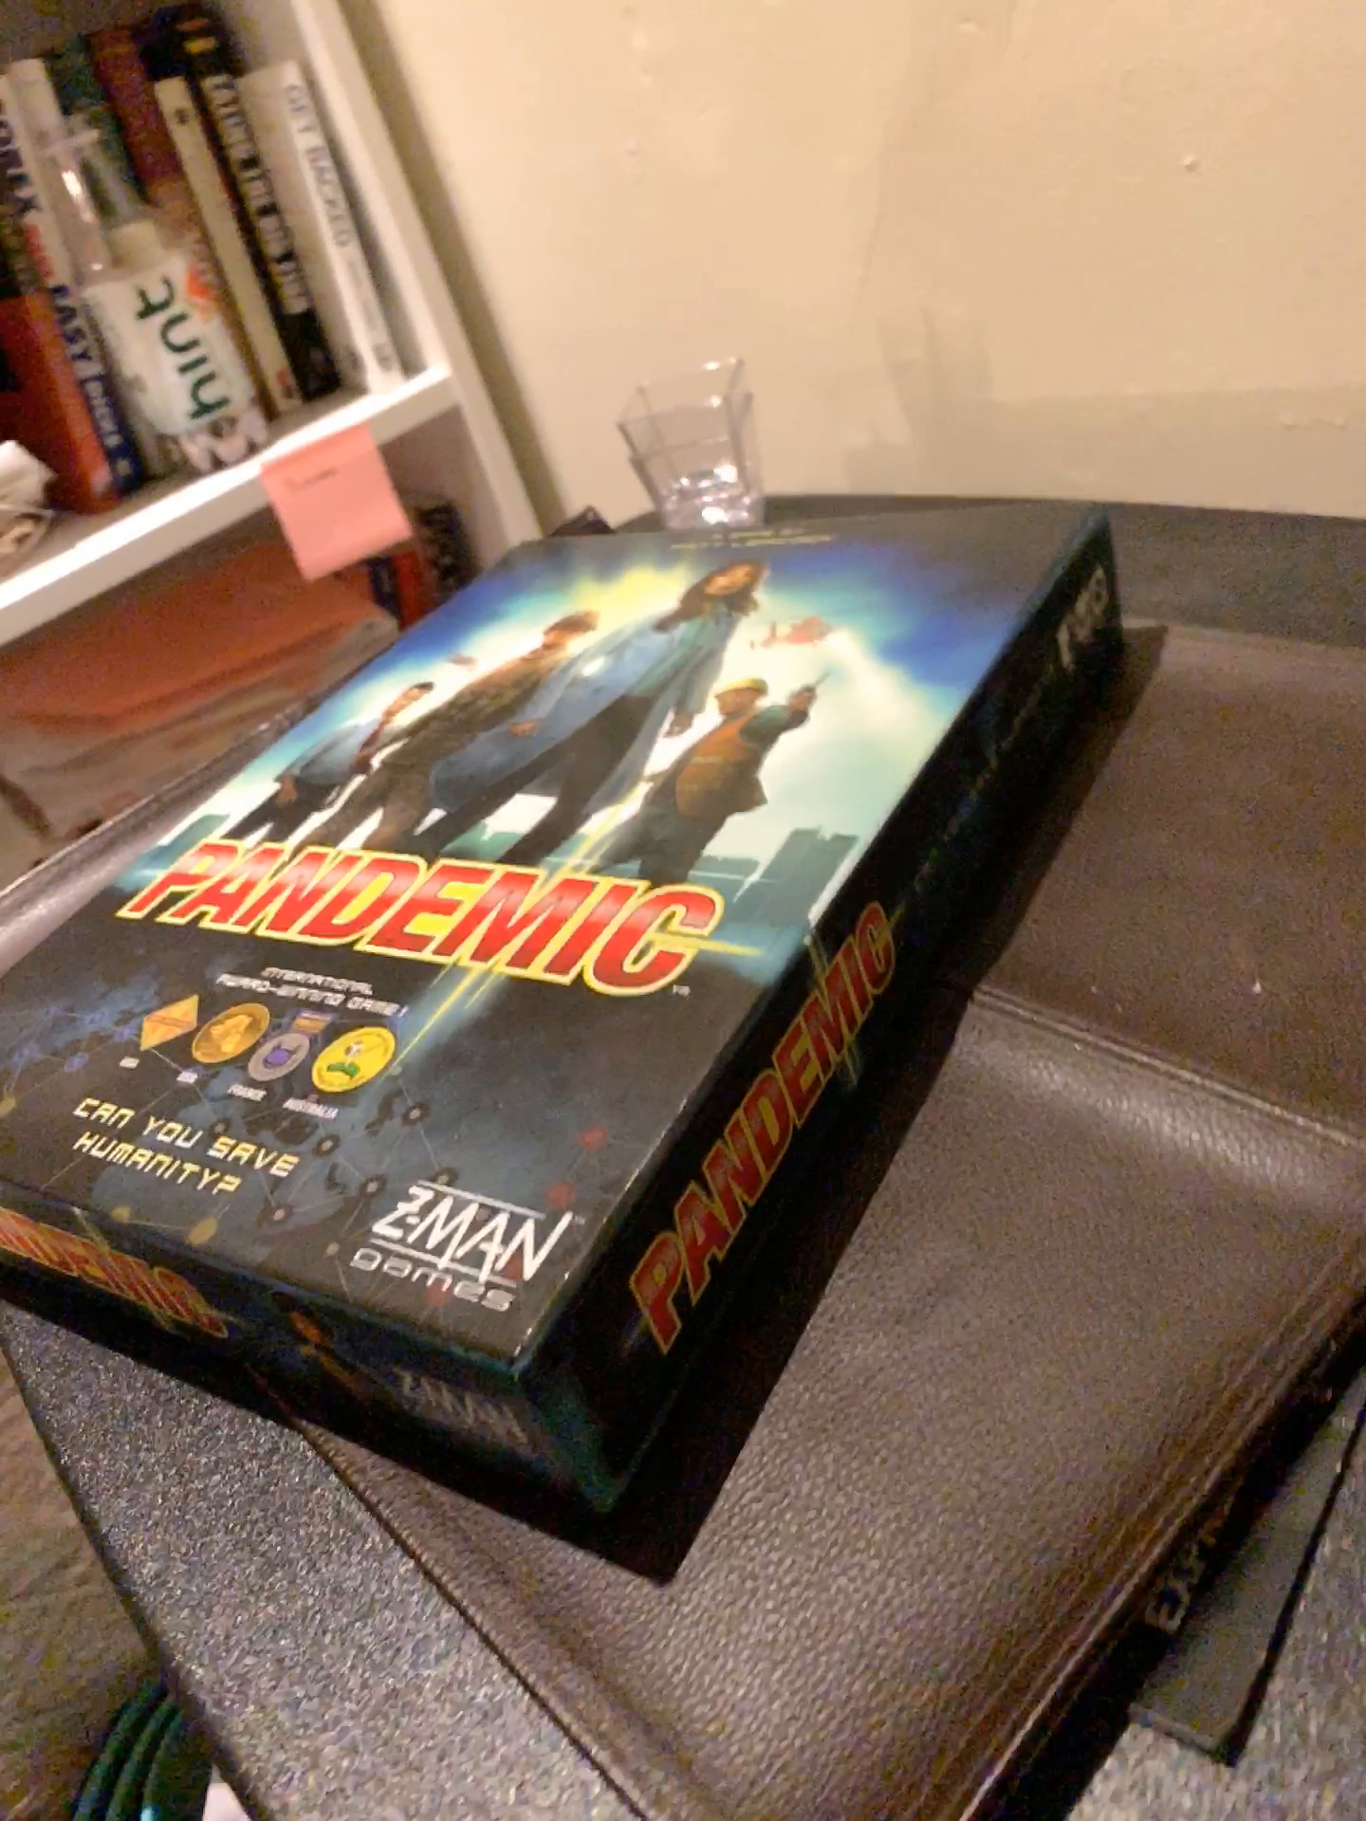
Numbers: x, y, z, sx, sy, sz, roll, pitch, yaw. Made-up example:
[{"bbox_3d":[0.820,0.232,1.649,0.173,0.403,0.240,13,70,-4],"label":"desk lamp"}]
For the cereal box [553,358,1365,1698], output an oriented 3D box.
[{"bbox_3d":[0.304,0.153,1.240,0.470,0.993,0.513,-15,34,11],"label":"cereal box"}]
